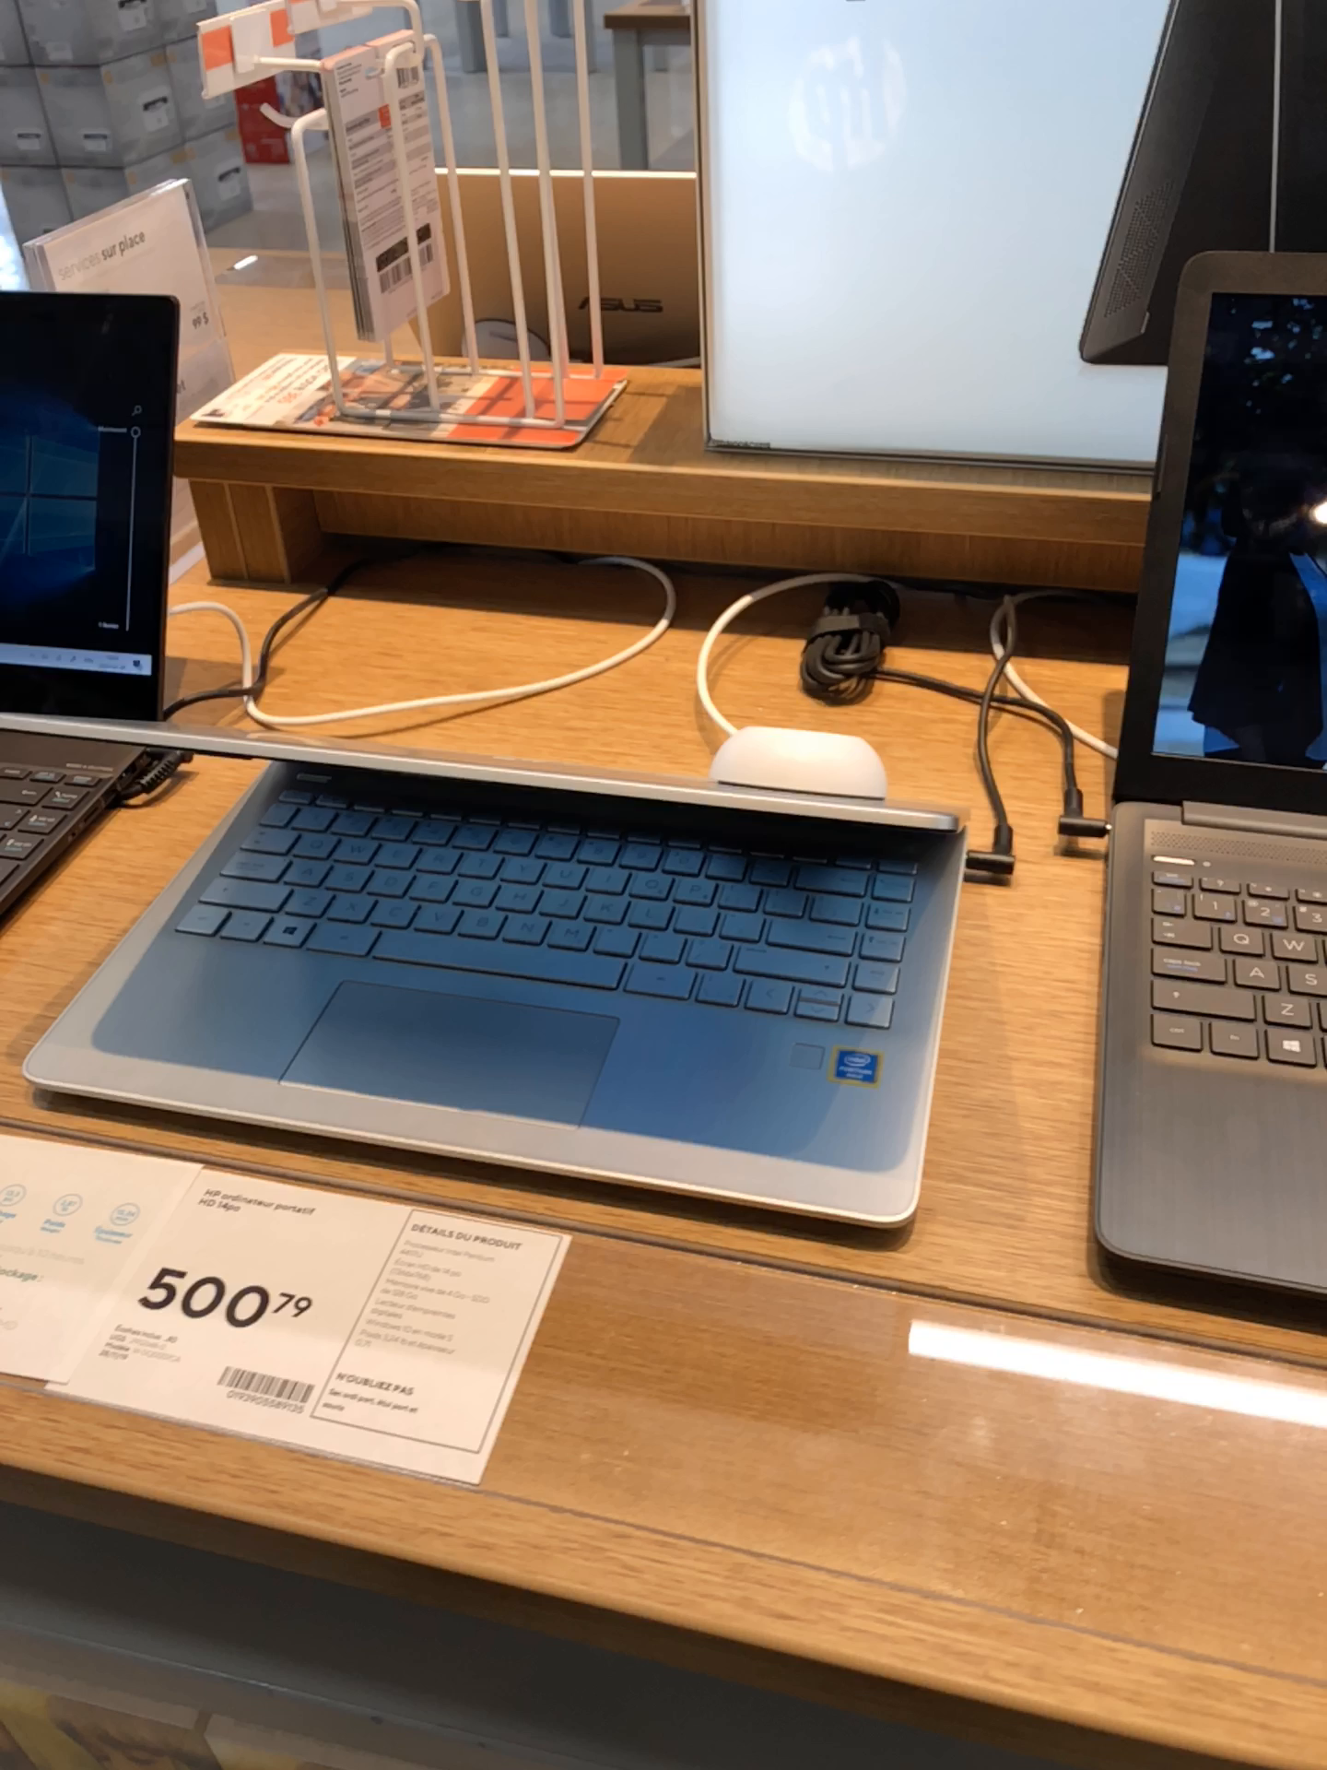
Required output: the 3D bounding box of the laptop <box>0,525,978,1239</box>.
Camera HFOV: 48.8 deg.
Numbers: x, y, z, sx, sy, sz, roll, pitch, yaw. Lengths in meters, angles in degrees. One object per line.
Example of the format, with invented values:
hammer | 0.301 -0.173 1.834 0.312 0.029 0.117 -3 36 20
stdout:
laptop | -0.058 -0.022 0.533 0.314 0.110 0.217 7 40 13
